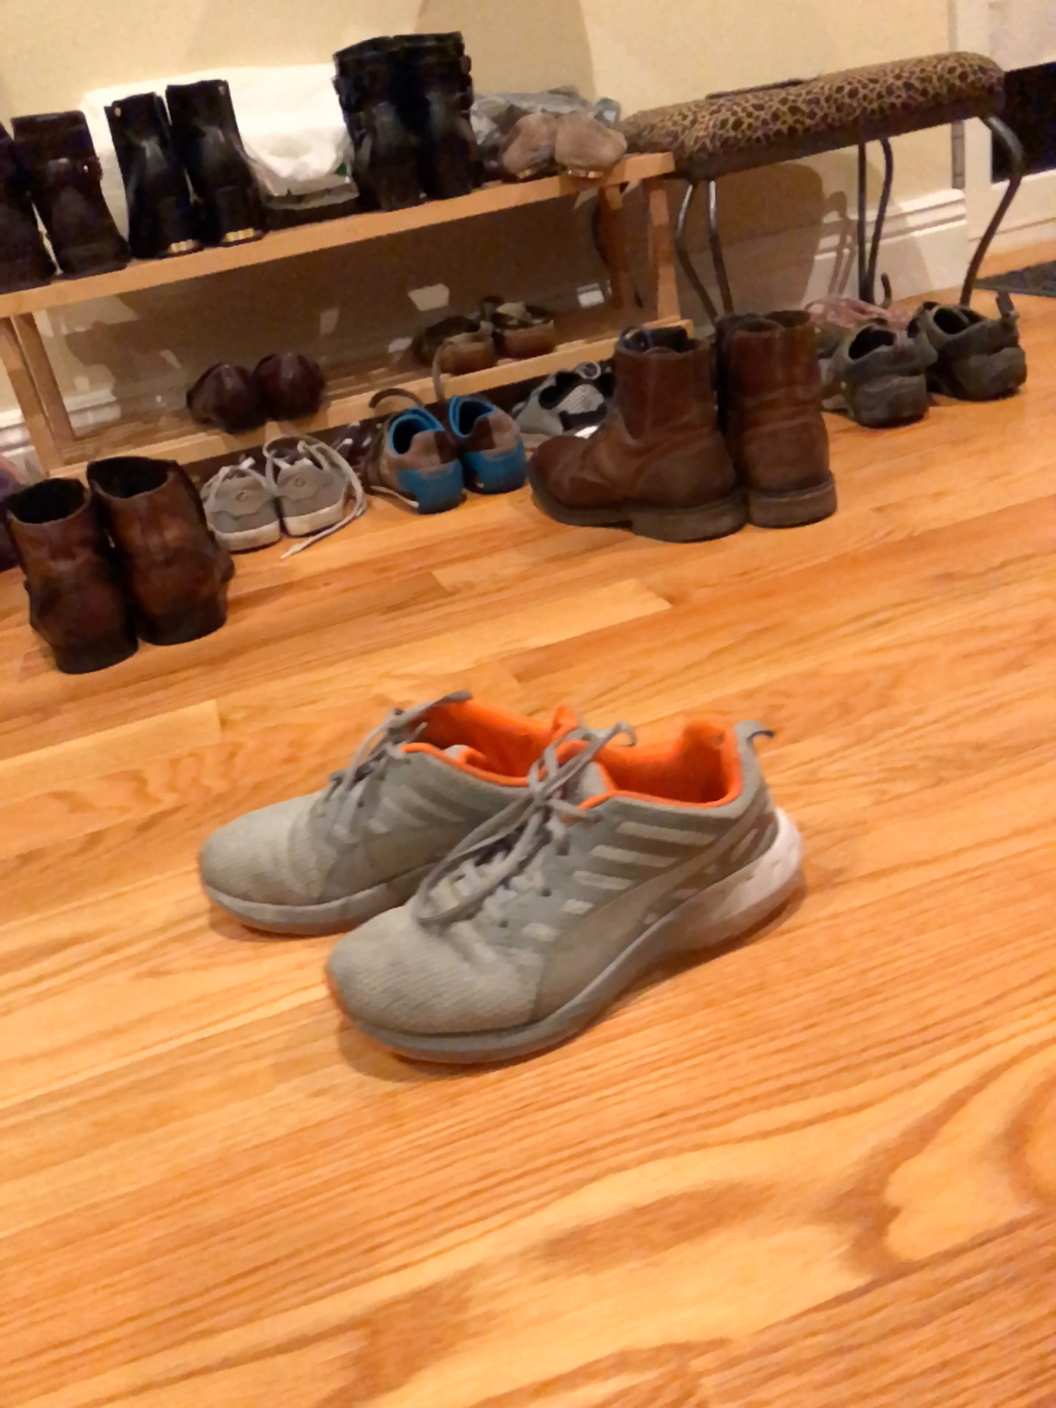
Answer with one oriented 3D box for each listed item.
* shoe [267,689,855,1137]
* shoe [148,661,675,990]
[{"bbox_3d":[0.018,0.087,0.557,0.250,0.080,0.110,-20,27,-18],"label":"shoe"},{"bbox_3d":[-0.057,0.064,0.632,0.250,0.099,0.101,-10,26,3],"label":"shoe"}]
